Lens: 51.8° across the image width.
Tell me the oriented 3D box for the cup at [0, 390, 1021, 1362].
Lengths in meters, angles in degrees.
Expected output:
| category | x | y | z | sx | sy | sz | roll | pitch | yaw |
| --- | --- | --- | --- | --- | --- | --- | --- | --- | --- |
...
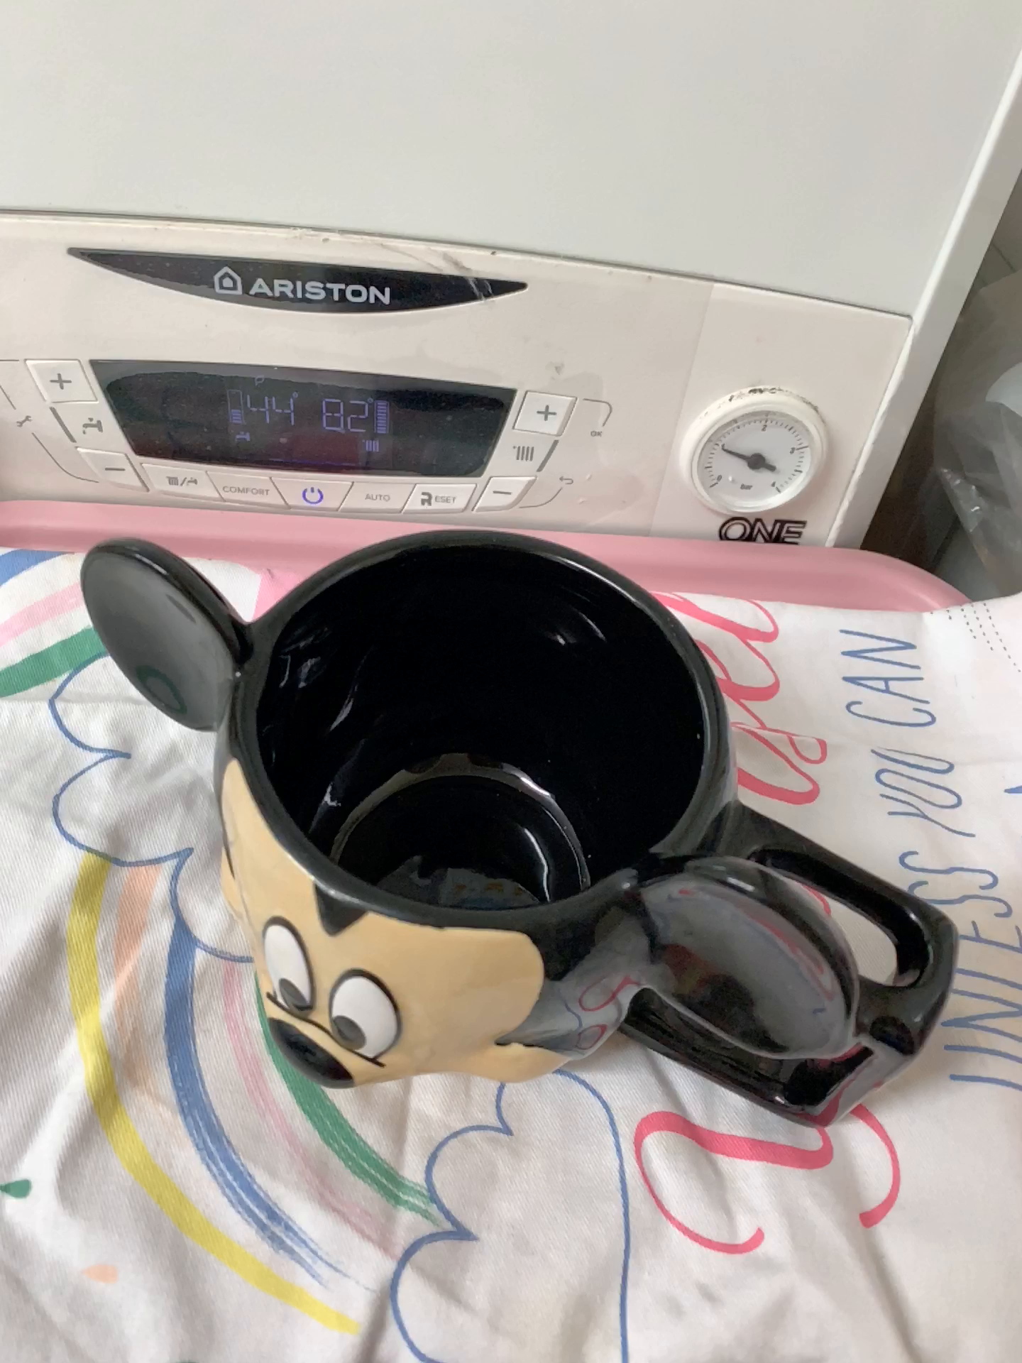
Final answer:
| category | x | y | z | sx | sy | sz | roll | pitch | yaw |
| --- | --- | --- | --- | --- | --- | --- | --- | --- | --- |
| cup | -0.008 | 0.030 | 0.216 | 0.190 | 0.079 | 0.101 | 25 | 49 | 15 |
